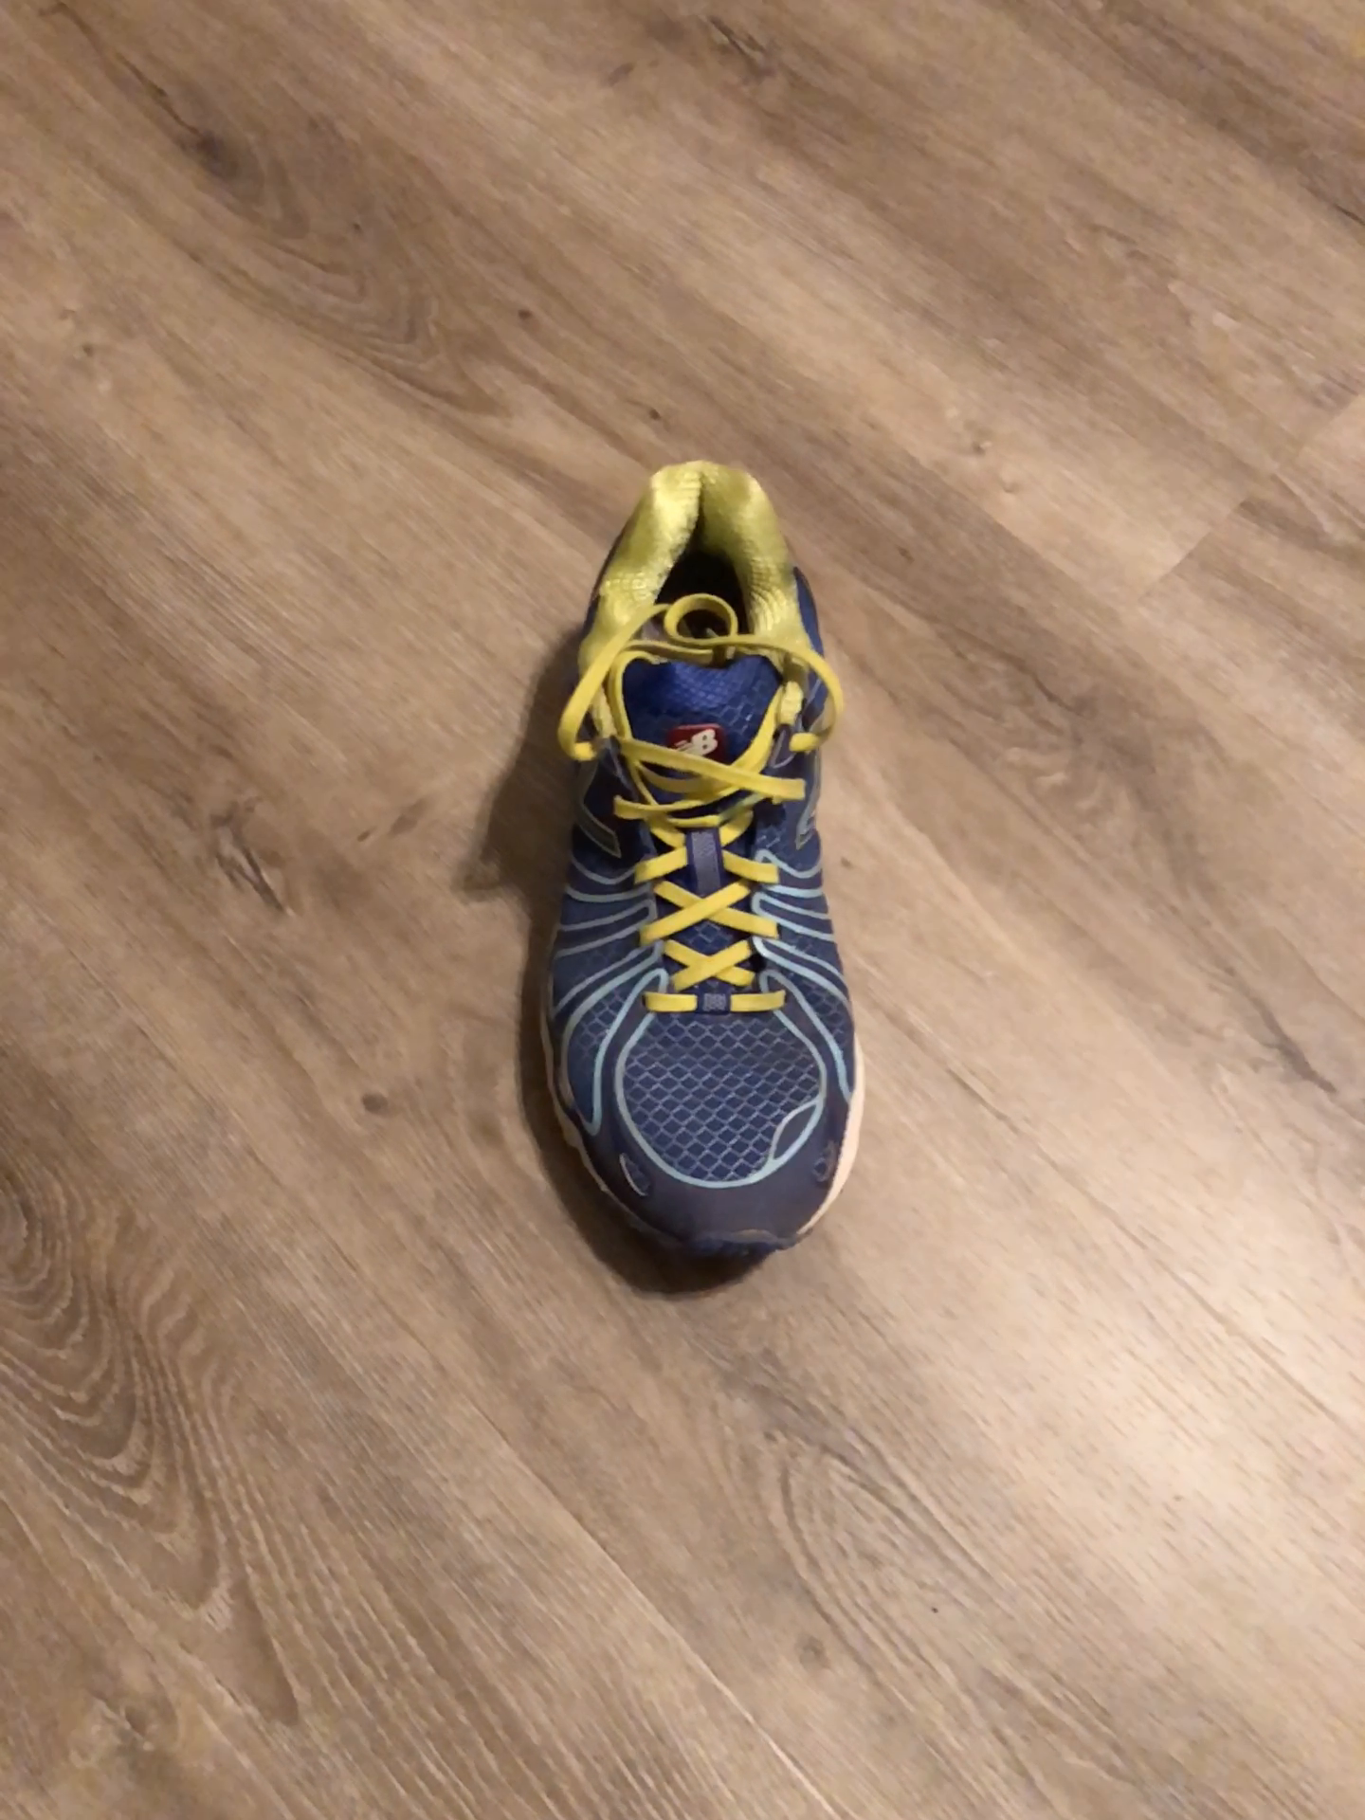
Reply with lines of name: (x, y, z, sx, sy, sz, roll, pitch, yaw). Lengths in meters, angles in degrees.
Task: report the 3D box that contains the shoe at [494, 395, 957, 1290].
shoe: (0.007, -0.022, 0.456, 0.110, 0.100, 0.250, -1, 66, -1)
